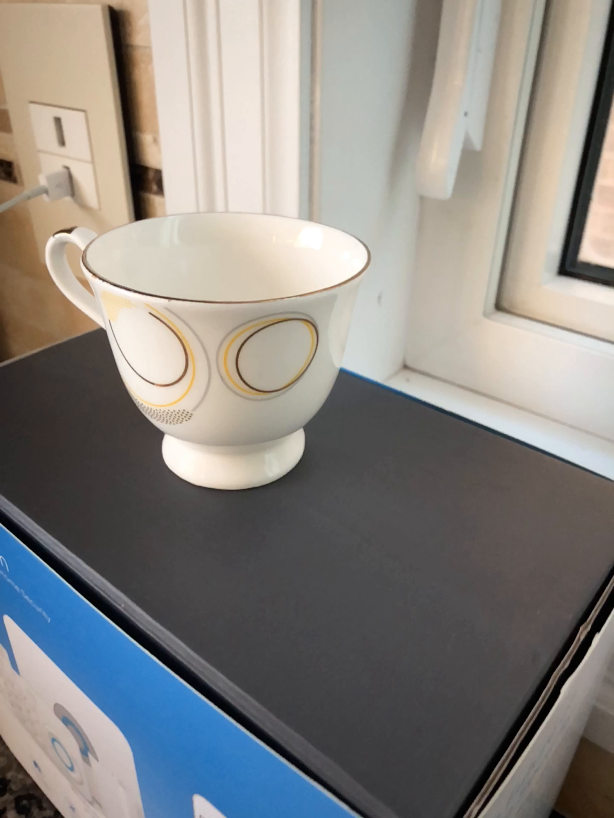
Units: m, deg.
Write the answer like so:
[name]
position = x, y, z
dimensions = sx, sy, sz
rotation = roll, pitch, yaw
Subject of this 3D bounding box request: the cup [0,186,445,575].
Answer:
[cup]
position = -0.025, -0.018, 0.208
dimensions = 0.100, 0.066, 0.077
rotation = 21, 37, 31
